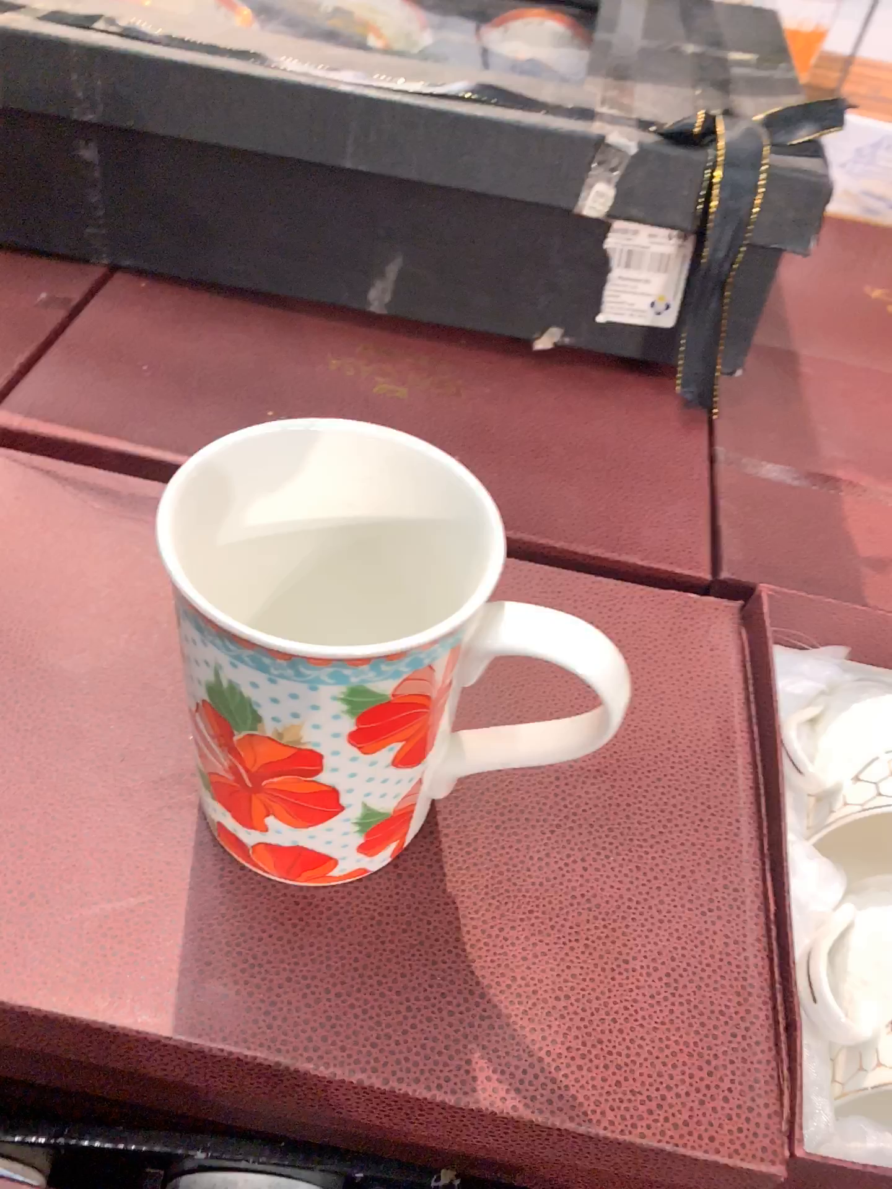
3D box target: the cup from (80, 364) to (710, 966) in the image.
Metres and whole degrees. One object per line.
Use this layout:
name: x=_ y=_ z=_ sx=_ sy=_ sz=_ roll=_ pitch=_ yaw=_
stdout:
cup: x=-0.010 y=0.022 z=0.239 sx=0.120 sy=0.110 sz=0.080 roll=13 pitch=46 yaw=2
